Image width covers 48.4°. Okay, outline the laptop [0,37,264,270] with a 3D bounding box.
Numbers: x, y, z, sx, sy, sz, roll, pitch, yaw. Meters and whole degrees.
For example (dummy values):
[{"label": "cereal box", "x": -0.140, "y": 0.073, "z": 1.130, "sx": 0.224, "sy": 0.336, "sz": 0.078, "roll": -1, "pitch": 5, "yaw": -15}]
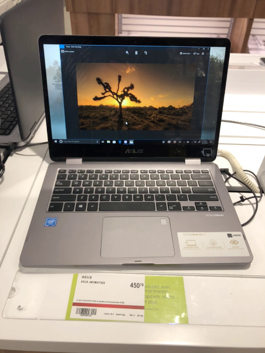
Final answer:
[{"label": "laptop", "x": 0.008, "y": -0.055, "z": 0.441, "sx": 0.319, "sy": 0.211, "sz": 0.291, "roll": -1, "pitch": 41, "yaw": -3}]
